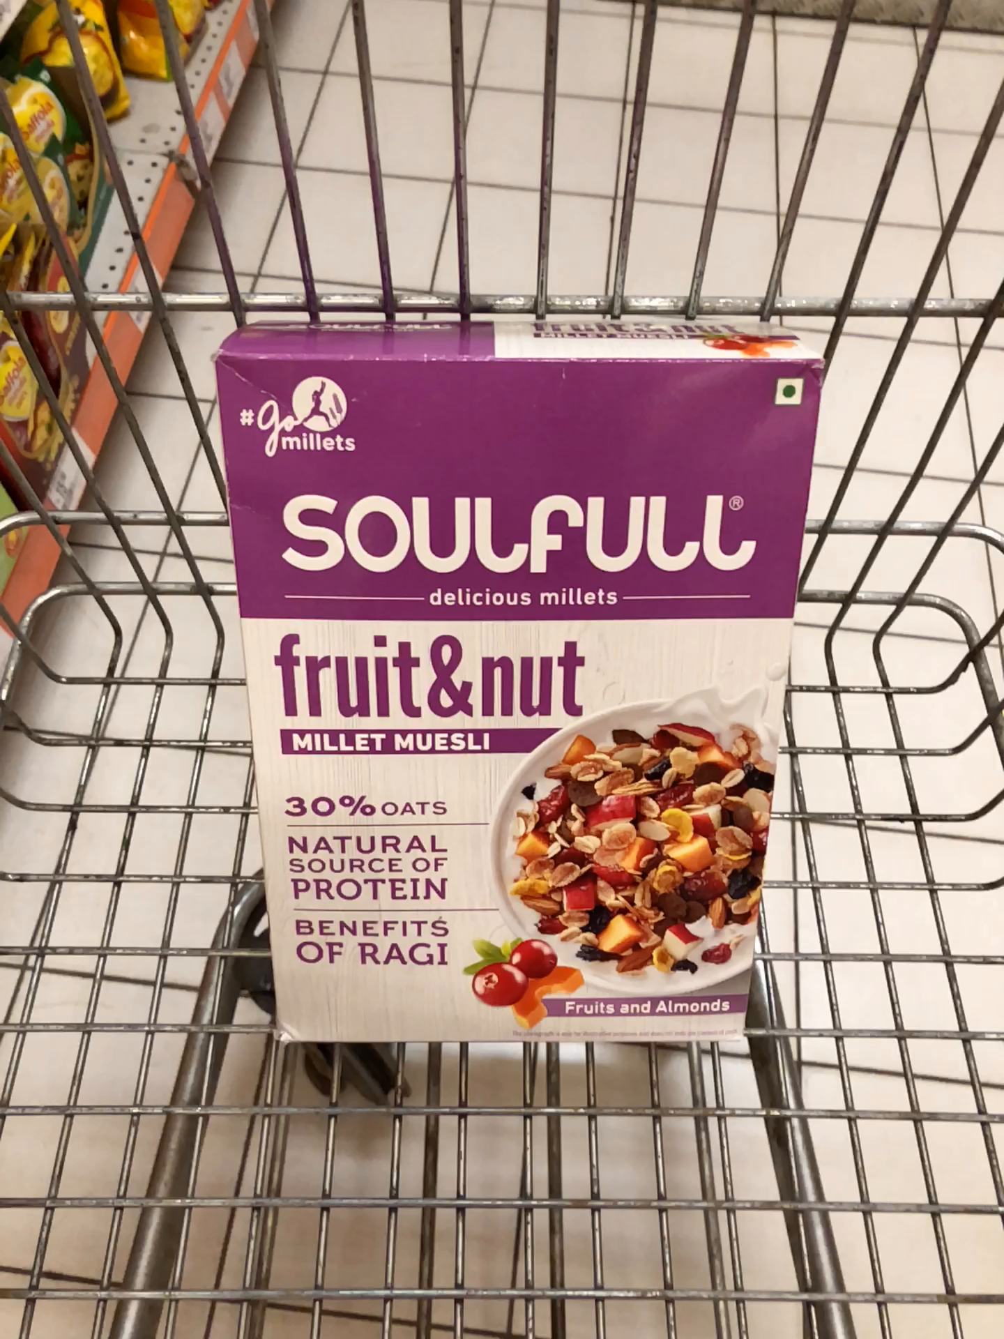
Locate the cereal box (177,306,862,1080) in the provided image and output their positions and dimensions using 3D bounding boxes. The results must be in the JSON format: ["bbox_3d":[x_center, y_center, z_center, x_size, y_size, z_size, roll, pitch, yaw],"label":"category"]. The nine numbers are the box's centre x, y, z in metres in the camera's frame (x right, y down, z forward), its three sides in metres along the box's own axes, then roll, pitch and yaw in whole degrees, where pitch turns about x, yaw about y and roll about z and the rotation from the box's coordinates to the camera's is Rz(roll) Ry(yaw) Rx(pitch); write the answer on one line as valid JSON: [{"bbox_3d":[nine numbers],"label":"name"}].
[{"bbox_3d":[0.003,0.013,0.357,0.170,0.239,0.070,0,24,-2],"label":"cereal box"}]
